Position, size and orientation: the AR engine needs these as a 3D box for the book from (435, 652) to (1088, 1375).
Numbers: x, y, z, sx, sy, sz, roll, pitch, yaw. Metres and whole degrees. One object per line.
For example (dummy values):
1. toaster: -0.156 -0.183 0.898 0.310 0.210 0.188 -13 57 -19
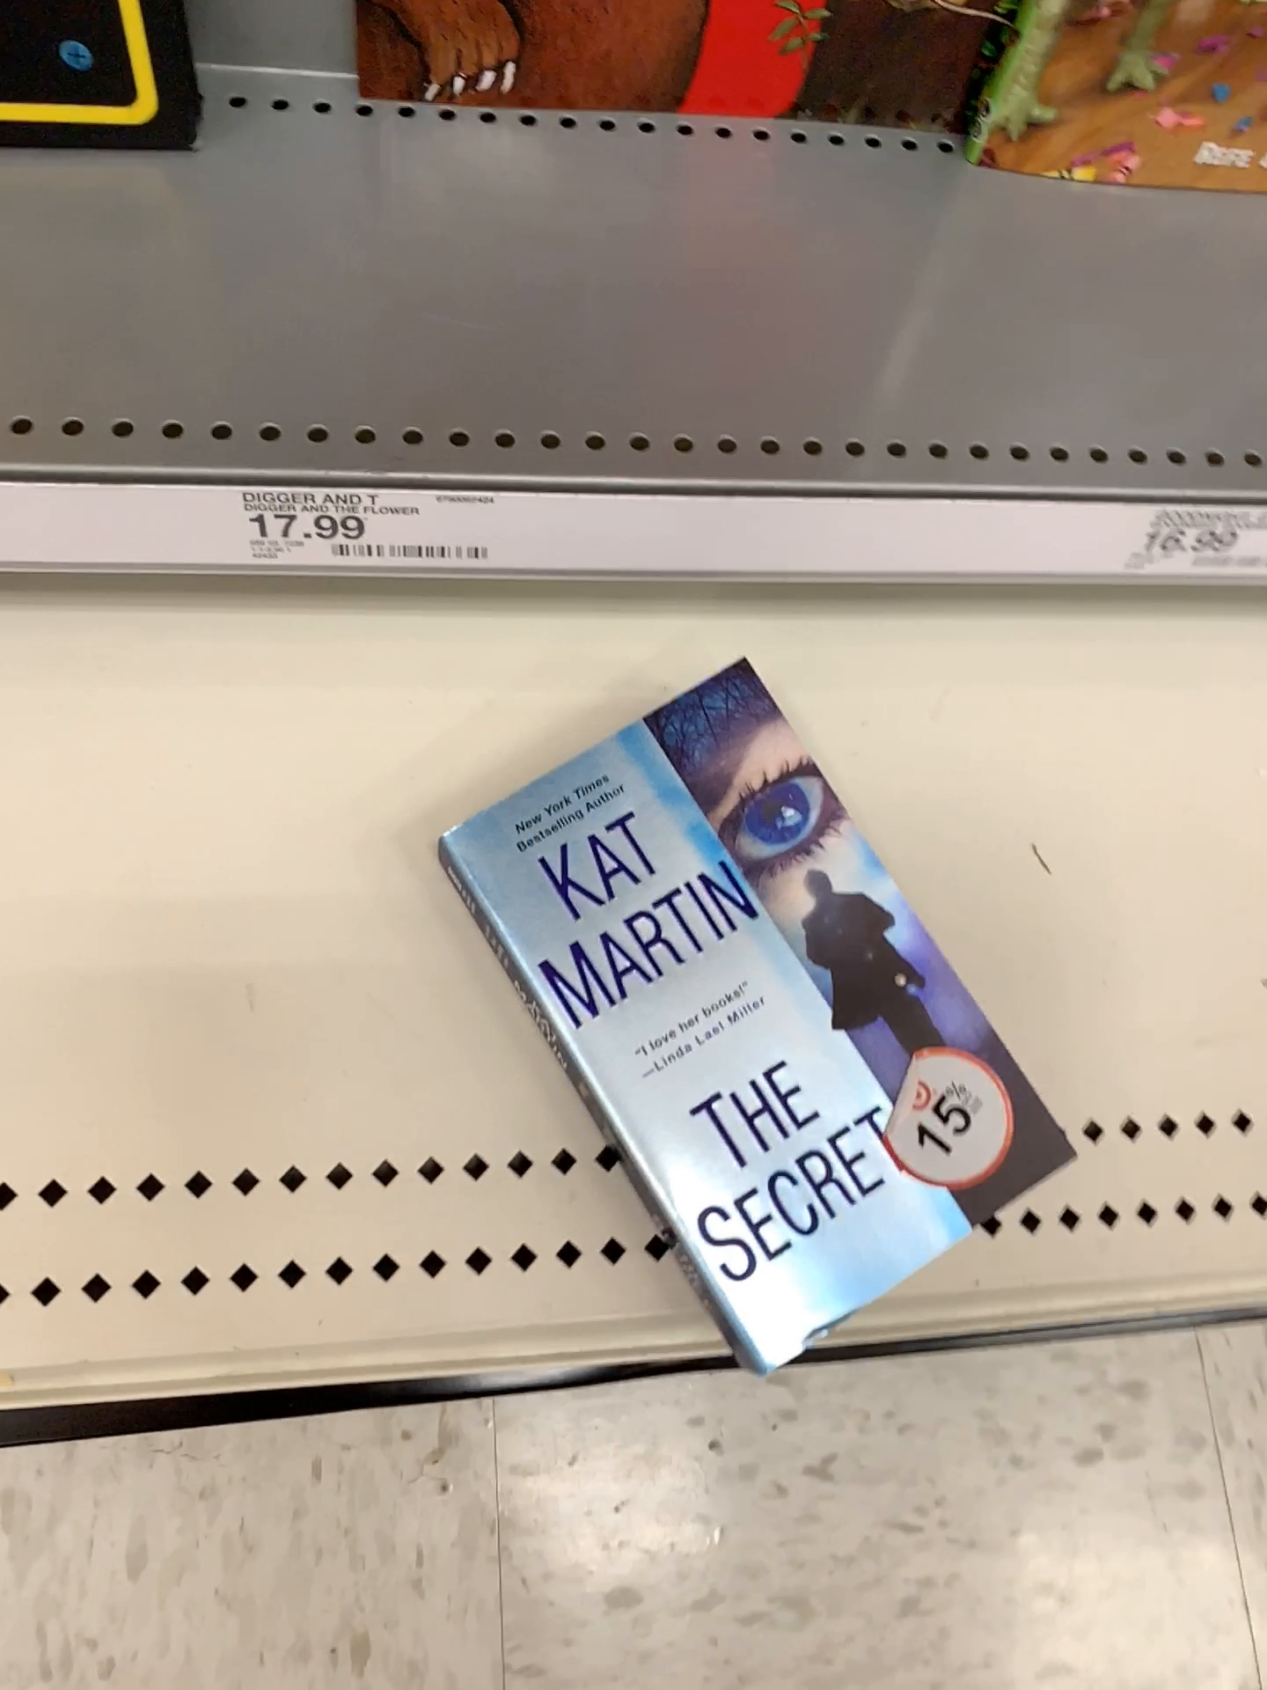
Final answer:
1. book: 0.032 0.044 0.370 0.105 0.040 0.164 -30 80 -12
